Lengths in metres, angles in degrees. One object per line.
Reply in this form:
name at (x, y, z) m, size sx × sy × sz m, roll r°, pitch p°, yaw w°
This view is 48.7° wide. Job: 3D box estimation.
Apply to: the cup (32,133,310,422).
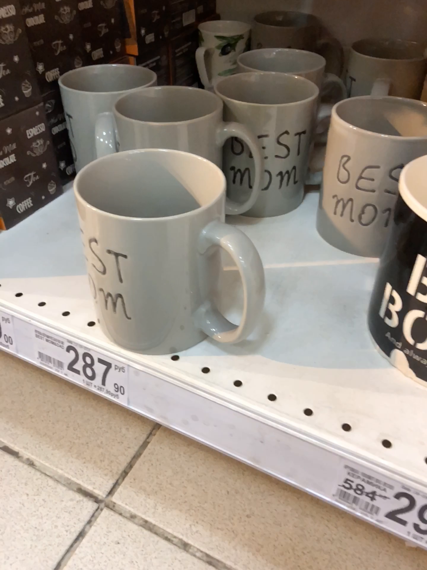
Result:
cup at (-0.030, -0.016, 0.323) m, size 0.143 × 0.121 × 0.101 m, roll 30°, pitch 44°, yaw 35°
